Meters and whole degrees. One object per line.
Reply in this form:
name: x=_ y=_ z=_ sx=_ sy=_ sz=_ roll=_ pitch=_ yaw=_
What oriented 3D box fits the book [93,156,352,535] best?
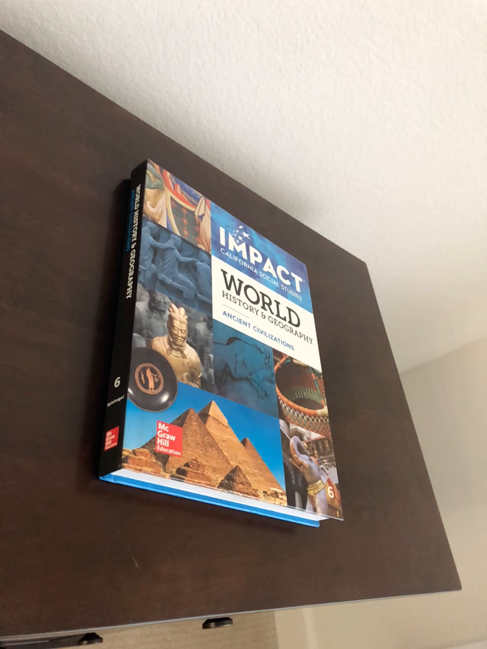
book: x=-0.007 y=0.017 z=0.469 sx=0.228 sy=0.030 sz=0.285 roll=28 pitch=45 yaw=-37
